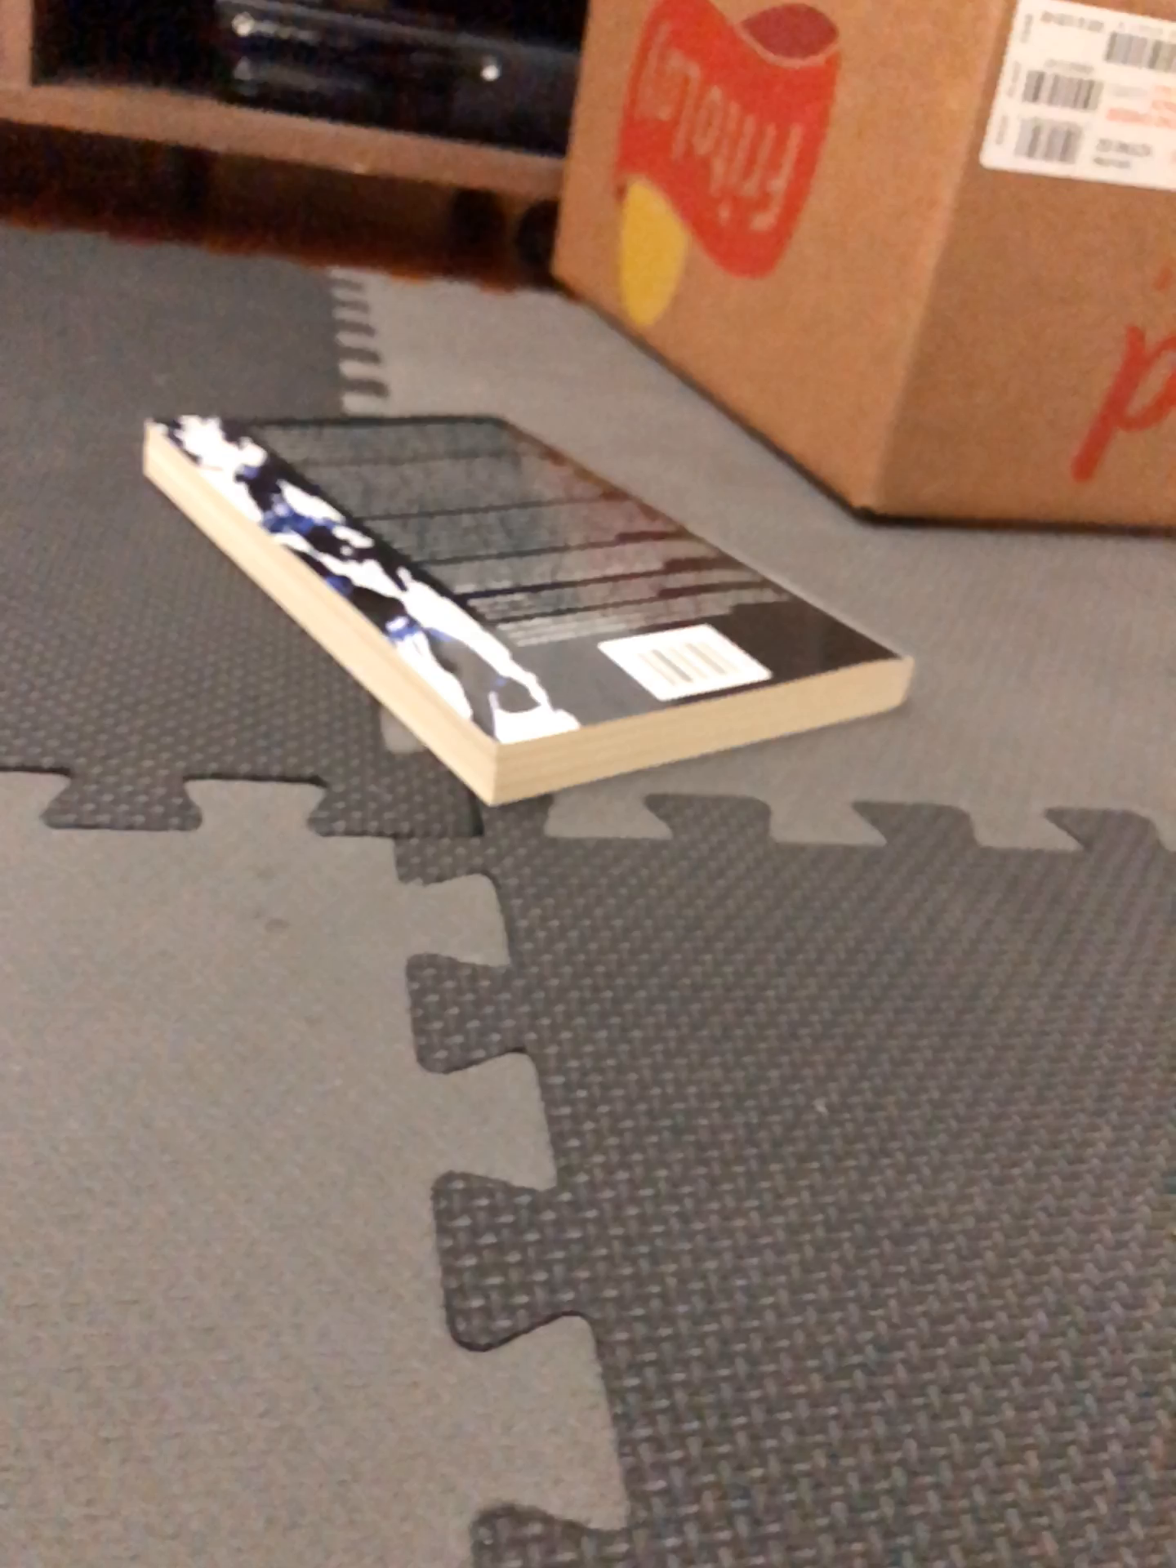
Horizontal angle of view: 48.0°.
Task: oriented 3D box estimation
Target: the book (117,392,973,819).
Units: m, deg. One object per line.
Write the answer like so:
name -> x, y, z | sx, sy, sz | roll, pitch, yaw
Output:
book -> -0.024, -0.072, 0.394 | 0.150, 0.020, 0.231 | -14, 37, -35

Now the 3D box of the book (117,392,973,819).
book -> -0.024, -0.072, 0.394 | 0.150, 0.020, 0.231 | -14, 37, -35
